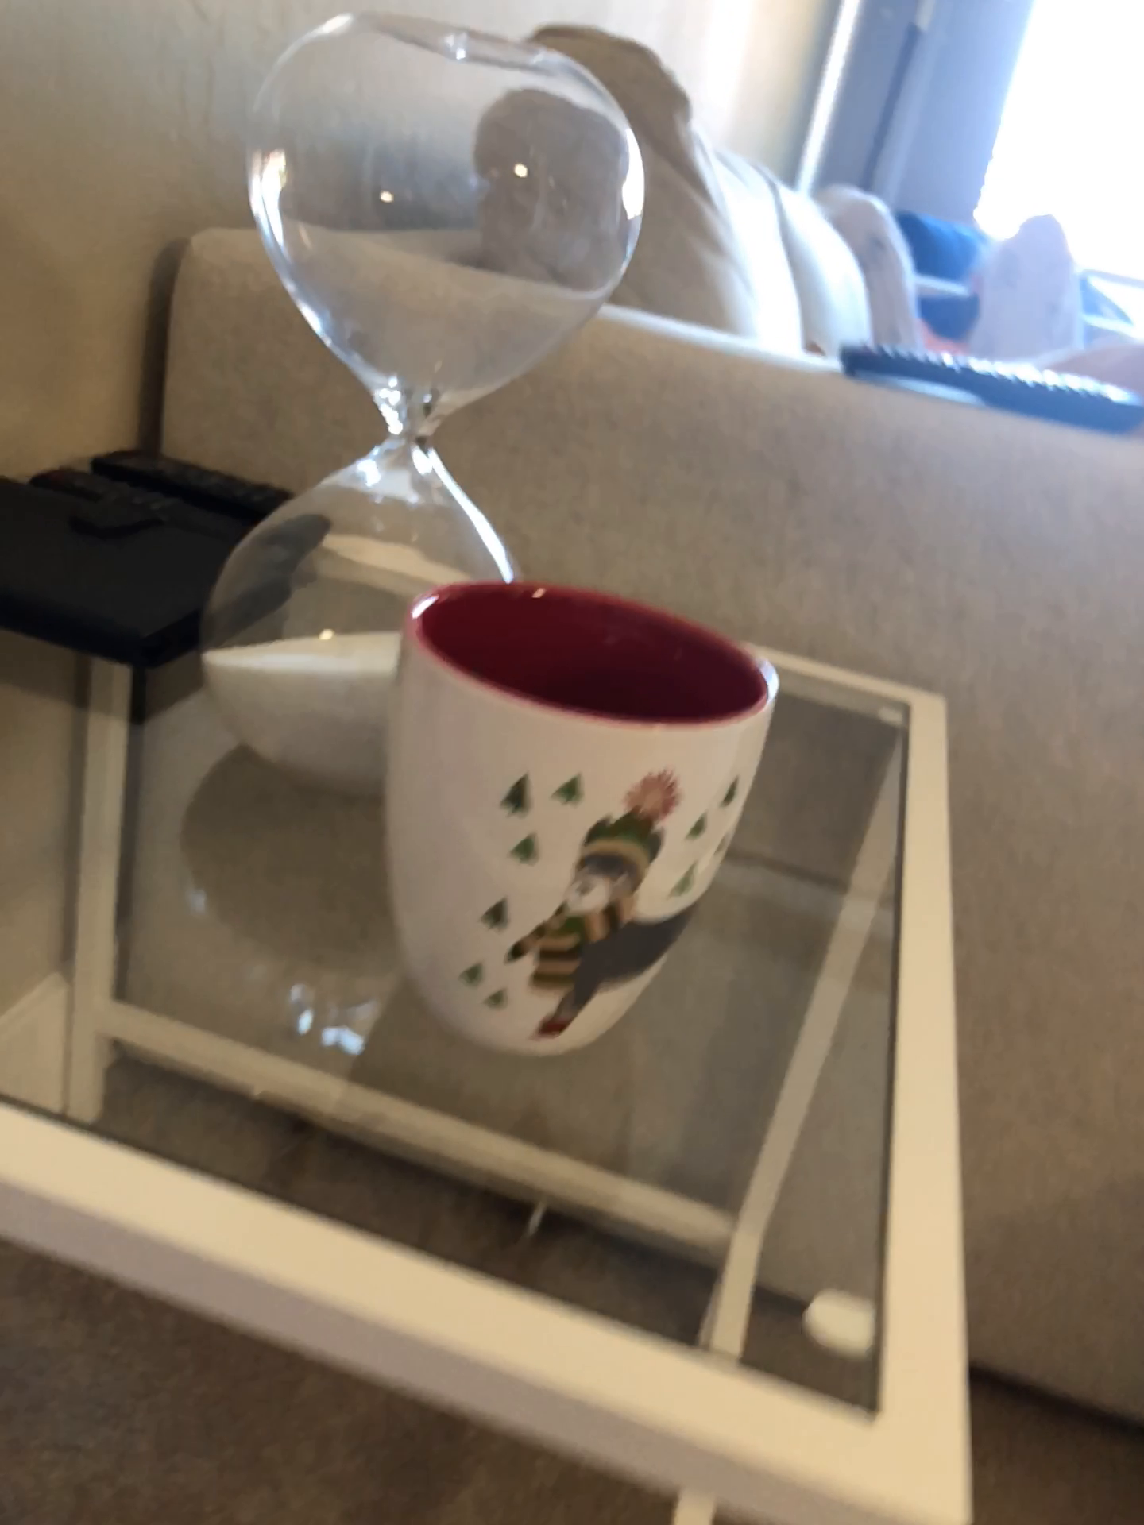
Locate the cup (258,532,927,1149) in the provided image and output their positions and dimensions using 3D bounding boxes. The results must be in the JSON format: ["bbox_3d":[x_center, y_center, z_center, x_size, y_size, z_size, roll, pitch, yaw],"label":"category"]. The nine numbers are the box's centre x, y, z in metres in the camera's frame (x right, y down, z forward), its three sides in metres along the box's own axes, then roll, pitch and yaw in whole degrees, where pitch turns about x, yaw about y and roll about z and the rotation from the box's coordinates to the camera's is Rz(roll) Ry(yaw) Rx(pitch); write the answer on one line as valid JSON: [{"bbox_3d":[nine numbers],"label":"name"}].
[{"bbox_3d":[0.008,0.008,0.369,0.100,0.110,0.150,28,28,32],"label":"cup"}]
